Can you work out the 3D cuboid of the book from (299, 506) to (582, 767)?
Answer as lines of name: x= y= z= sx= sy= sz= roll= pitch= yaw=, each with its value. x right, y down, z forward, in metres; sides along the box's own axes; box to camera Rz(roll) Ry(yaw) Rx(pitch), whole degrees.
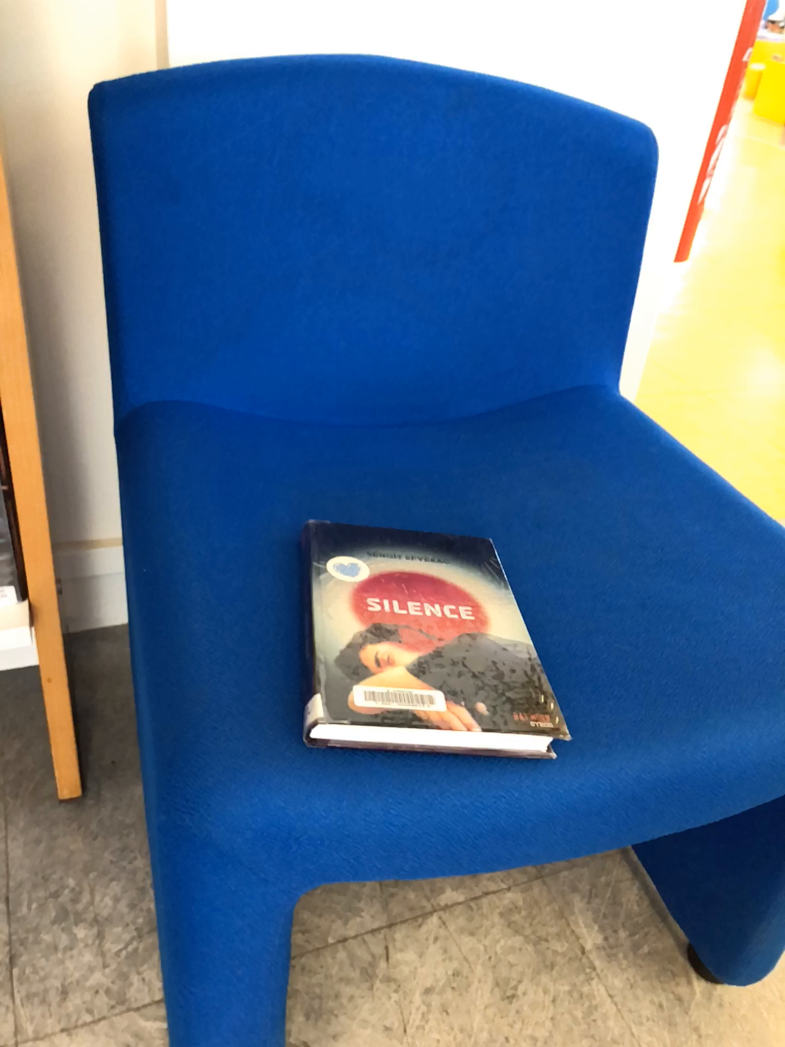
book: x=0.018 y=0.060 z=0.541 sx=0.147 sy=0.023 sz=0.212 roll=6 pitch=30 yaw=-8
